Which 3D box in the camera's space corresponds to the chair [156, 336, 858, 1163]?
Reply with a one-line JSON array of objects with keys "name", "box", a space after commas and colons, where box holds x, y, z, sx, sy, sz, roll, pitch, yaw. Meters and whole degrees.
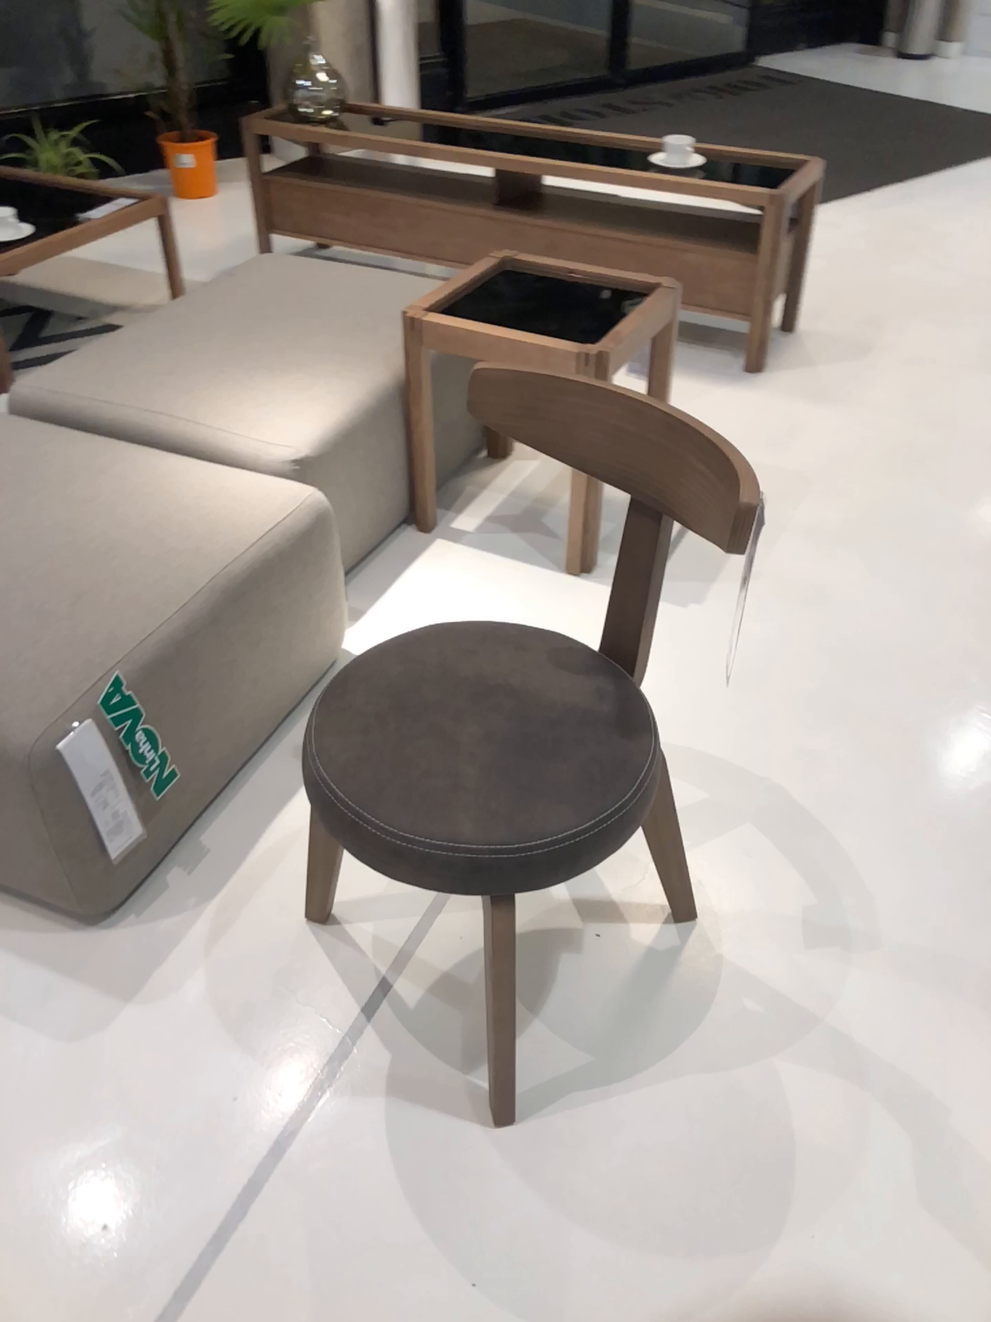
[{"name": "chair", "box": [0.008, 0.082, 1.331, 0.522, 0.705, 0.502, -28, 46, -31]}]
